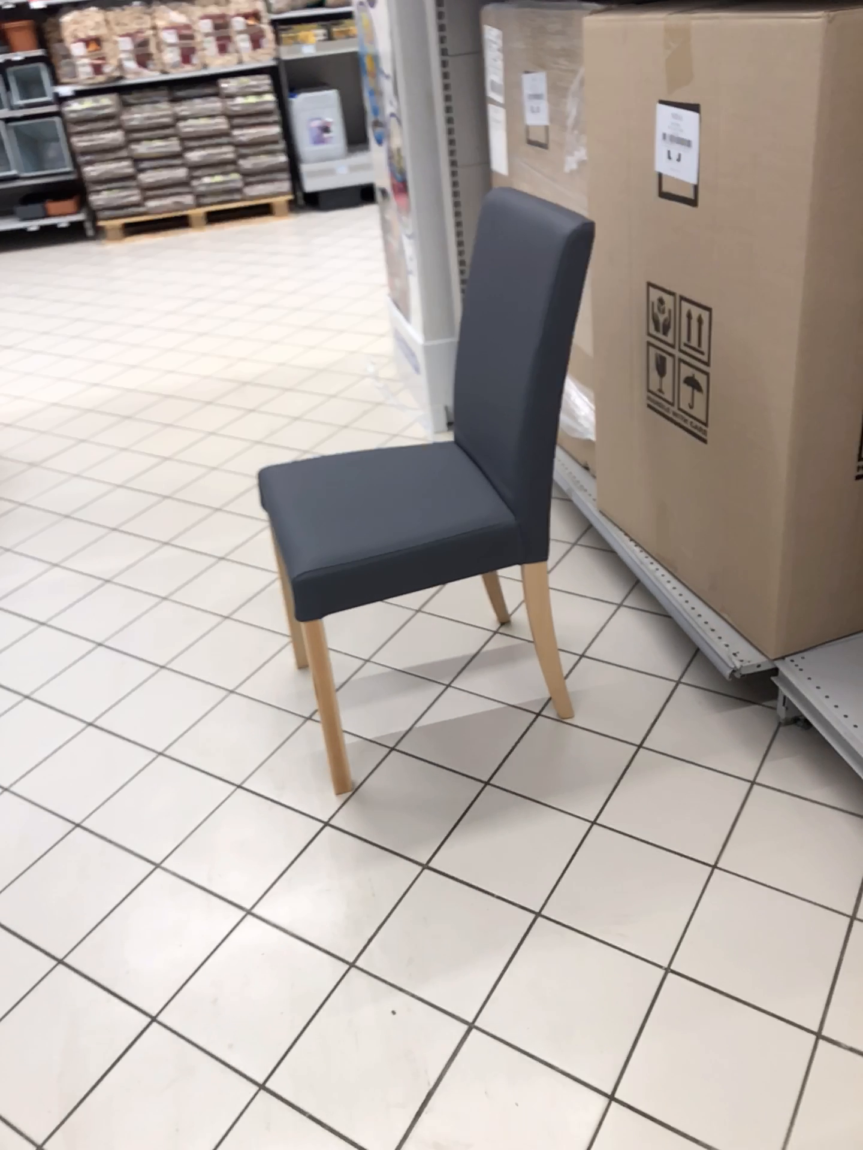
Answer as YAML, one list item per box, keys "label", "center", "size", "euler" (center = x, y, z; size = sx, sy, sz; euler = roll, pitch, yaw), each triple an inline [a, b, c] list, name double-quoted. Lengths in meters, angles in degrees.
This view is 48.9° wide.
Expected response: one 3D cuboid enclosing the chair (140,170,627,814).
- label: "chair"
  center: [-0.057, -0.159, 1.571]
  size: [0.571, 0.825, 0.472]
  euler: [-17, 31, -15]
